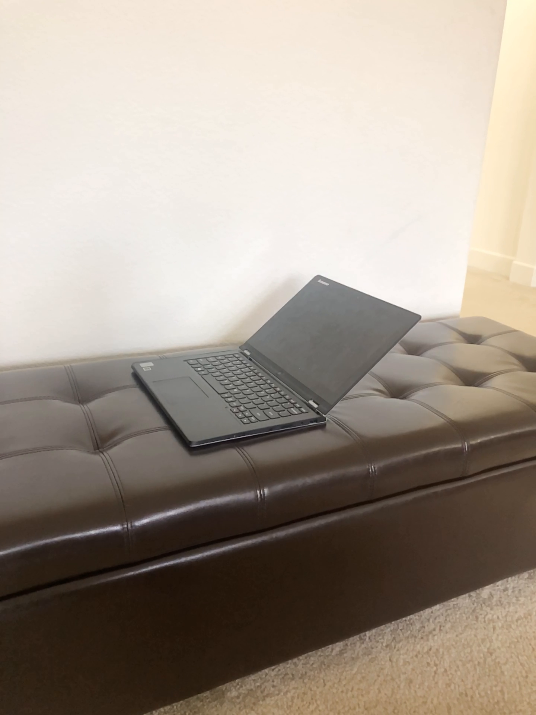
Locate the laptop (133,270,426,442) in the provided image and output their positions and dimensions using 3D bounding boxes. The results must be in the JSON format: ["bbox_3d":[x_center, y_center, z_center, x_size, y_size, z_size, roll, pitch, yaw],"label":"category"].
[{"bbox_3d":[0.003,-0.025,0.827,0.317,0.115,0.262,-9,23,-25],"label":"laptop"}]
